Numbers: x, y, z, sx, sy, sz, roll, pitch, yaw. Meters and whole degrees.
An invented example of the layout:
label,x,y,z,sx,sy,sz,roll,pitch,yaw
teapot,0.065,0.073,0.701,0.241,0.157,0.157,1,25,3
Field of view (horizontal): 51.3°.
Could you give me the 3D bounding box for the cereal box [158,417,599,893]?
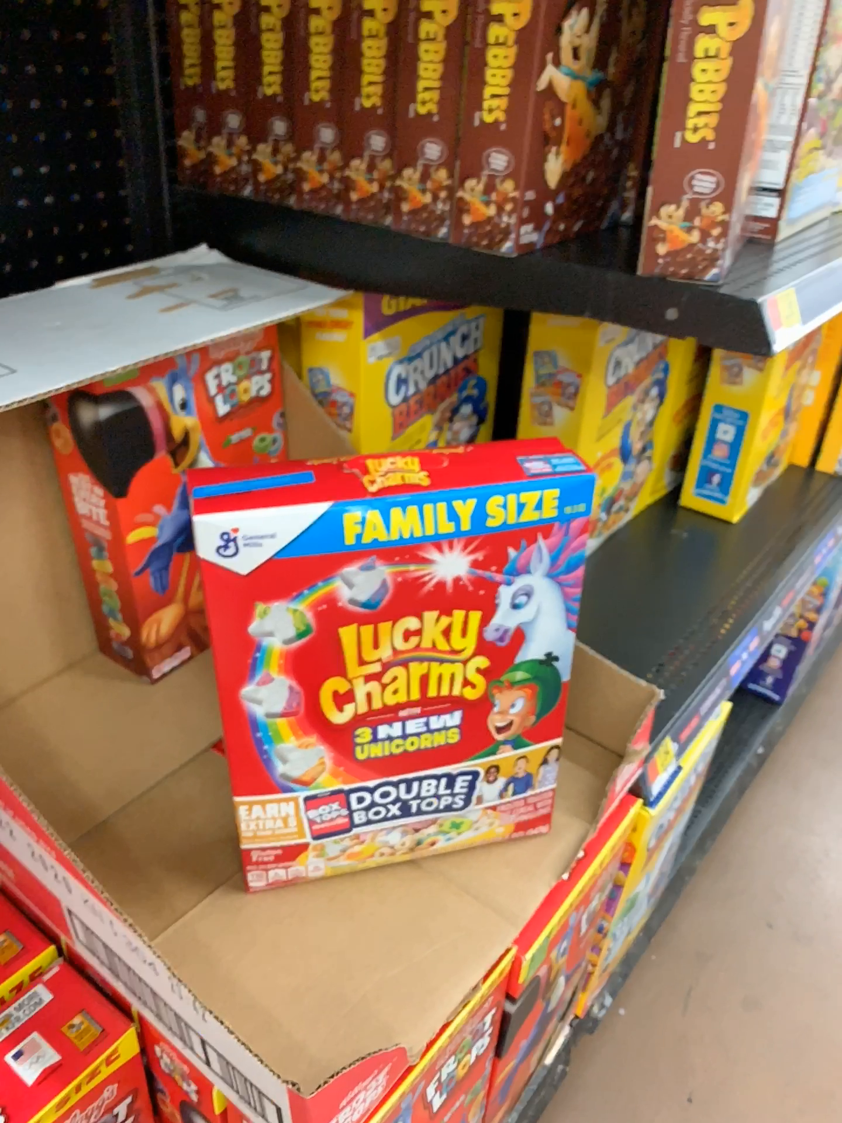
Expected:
label,x,y,z,sx,sy,sz,roll,pitch,yaw
cereal box,-0.025,0.066,0.550,0.230,0.288,0.060,-7,33,-13
